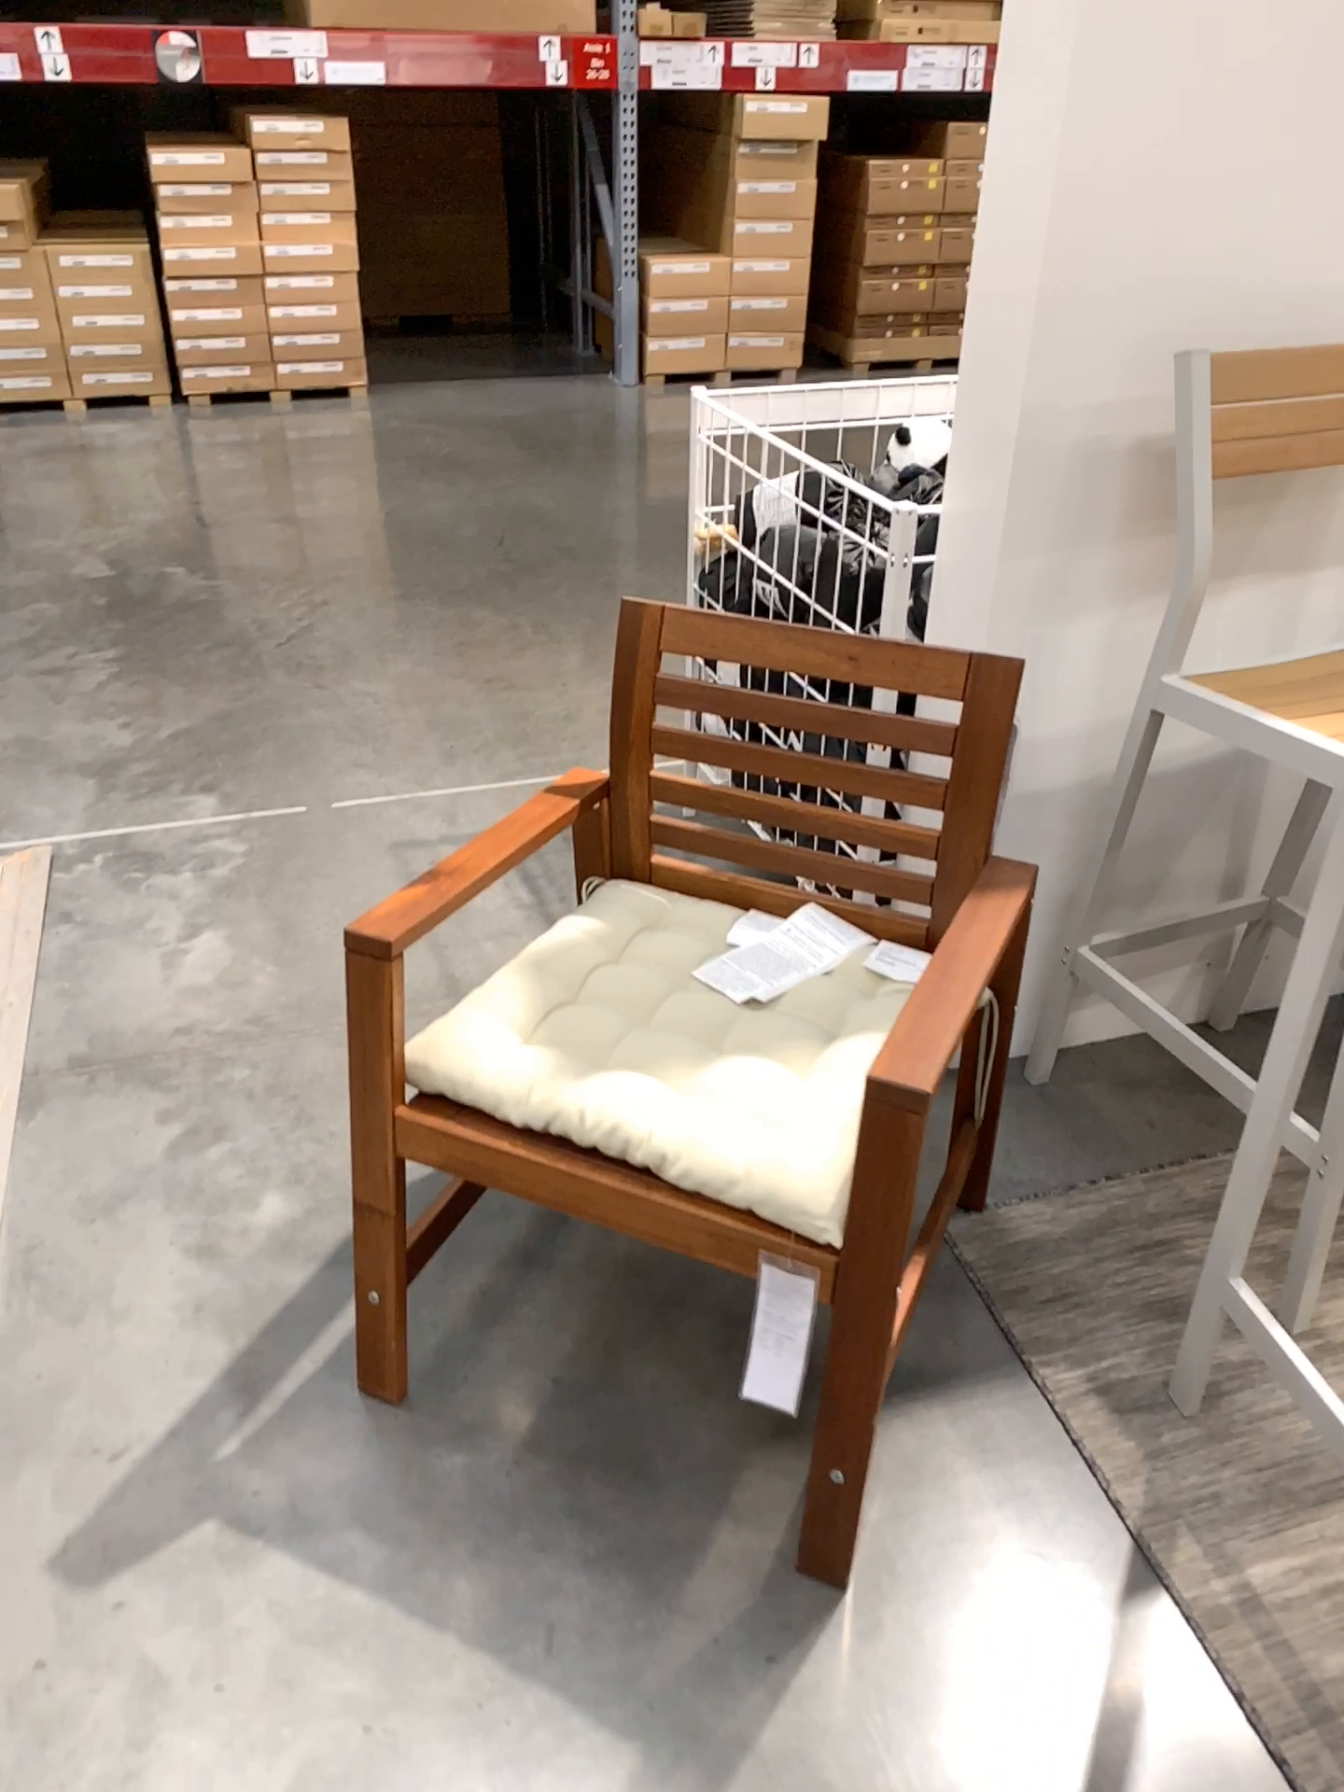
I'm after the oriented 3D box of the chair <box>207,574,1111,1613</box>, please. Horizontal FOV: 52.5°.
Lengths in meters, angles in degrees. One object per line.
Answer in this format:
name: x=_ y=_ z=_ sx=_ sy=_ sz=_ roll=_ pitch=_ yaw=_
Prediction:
chair: x=0.042 y=0.139 z=1.508 sx=0.651 sy=0.706 sz=0.723 roll=13 pitch=33 yaw=19
